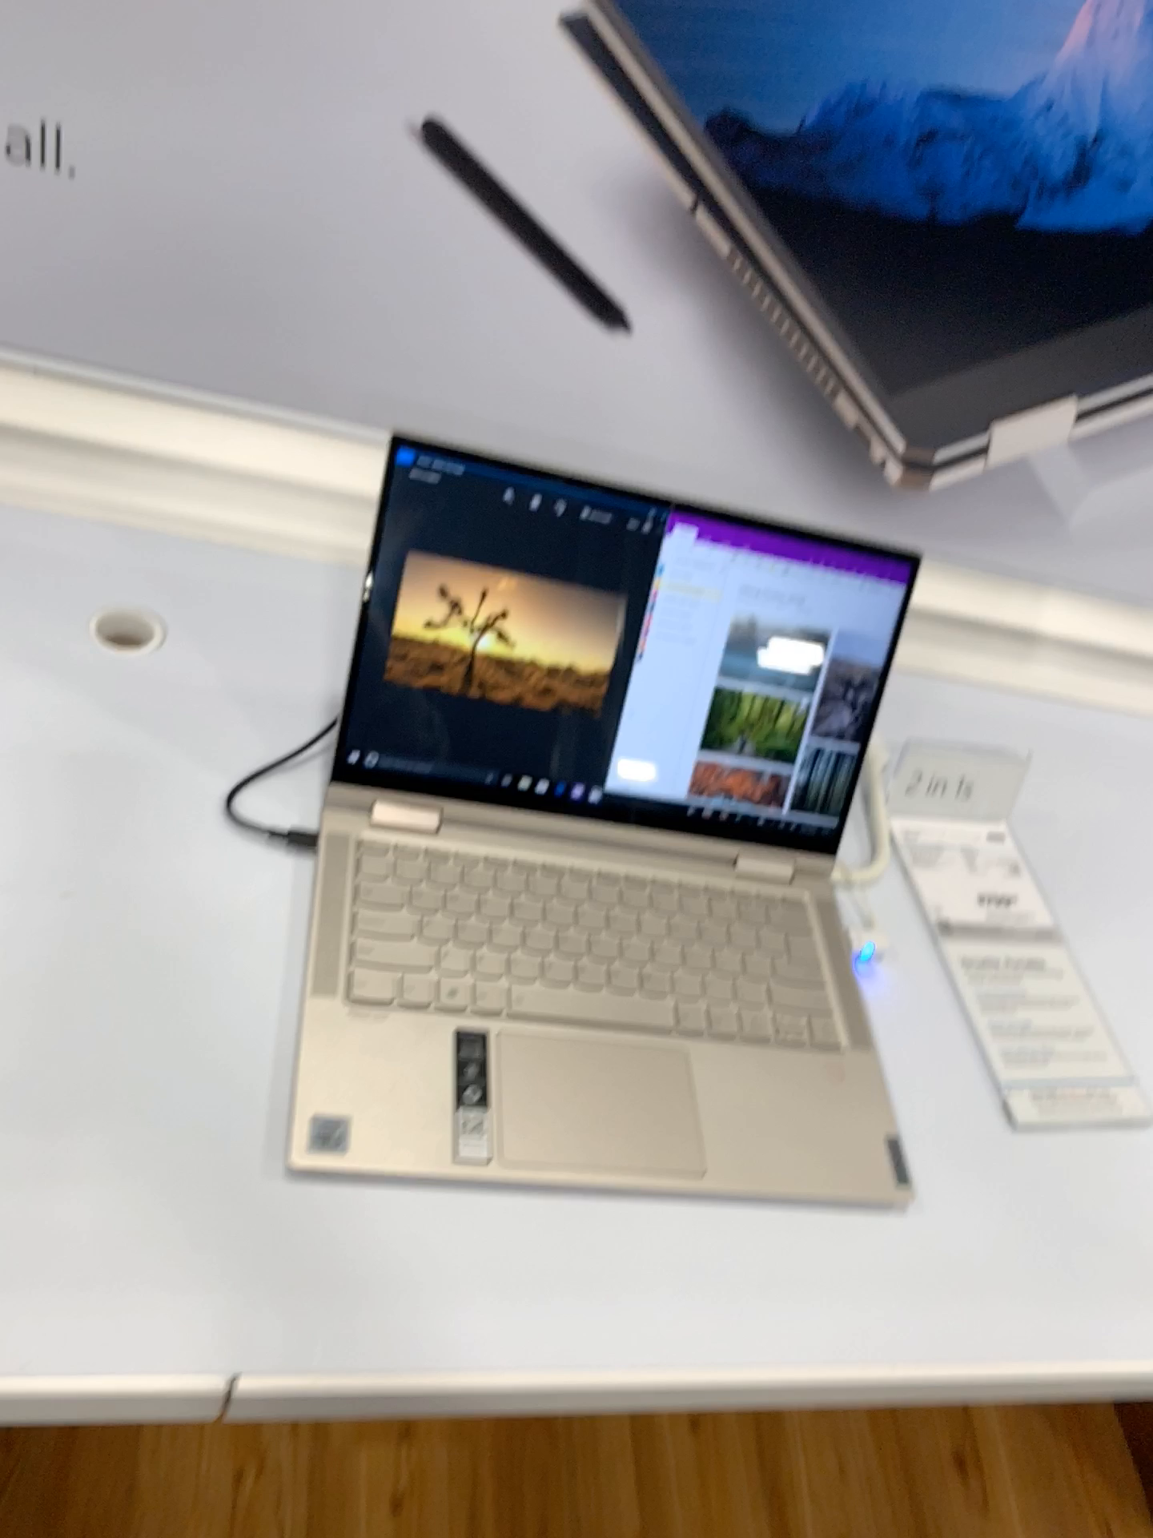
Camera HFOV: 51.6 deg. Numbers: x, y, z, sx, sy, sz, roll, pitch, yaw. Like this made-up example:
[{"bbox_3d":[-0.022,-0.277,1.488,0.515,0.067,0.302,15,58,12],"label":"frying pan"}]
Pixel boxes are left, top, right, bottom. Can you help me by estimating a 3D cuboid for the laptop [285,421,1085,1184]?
[{"bbox_3d":[0.034,0.015,0.631,0.309,0.170,0.330,9,46,-16],"label":"laptop"}]
